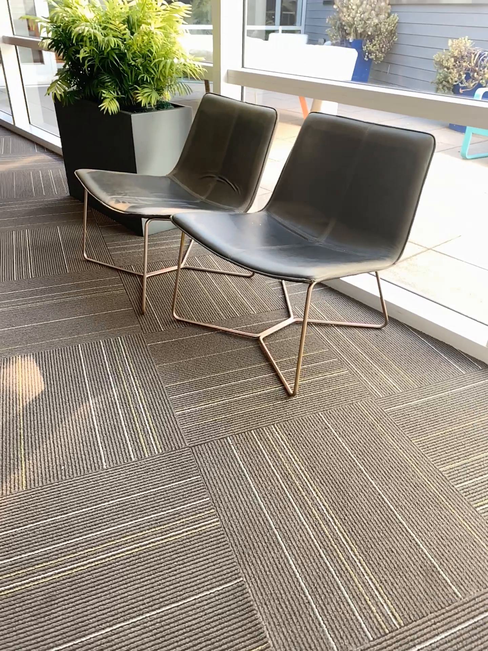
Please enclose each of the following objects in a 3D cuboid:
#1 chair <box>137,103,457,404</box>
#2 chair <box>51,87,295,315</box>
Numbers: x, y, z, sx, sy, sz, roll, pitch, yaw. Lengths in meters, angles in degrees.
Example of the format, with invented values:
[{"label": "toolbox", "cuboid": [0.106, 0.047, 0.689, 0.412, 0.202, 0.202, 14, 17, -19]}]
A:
[{"label": "chair", "cuboid": [0.151, -0.318, 1.706, 0.691, 0.676, 0.703, -26, 41, -37]}, {"label": "chair", "cuboid": [-0.302, -0.583, 2.116, 0.691, 0.676, 0.704, -19, 38, -30]}]
